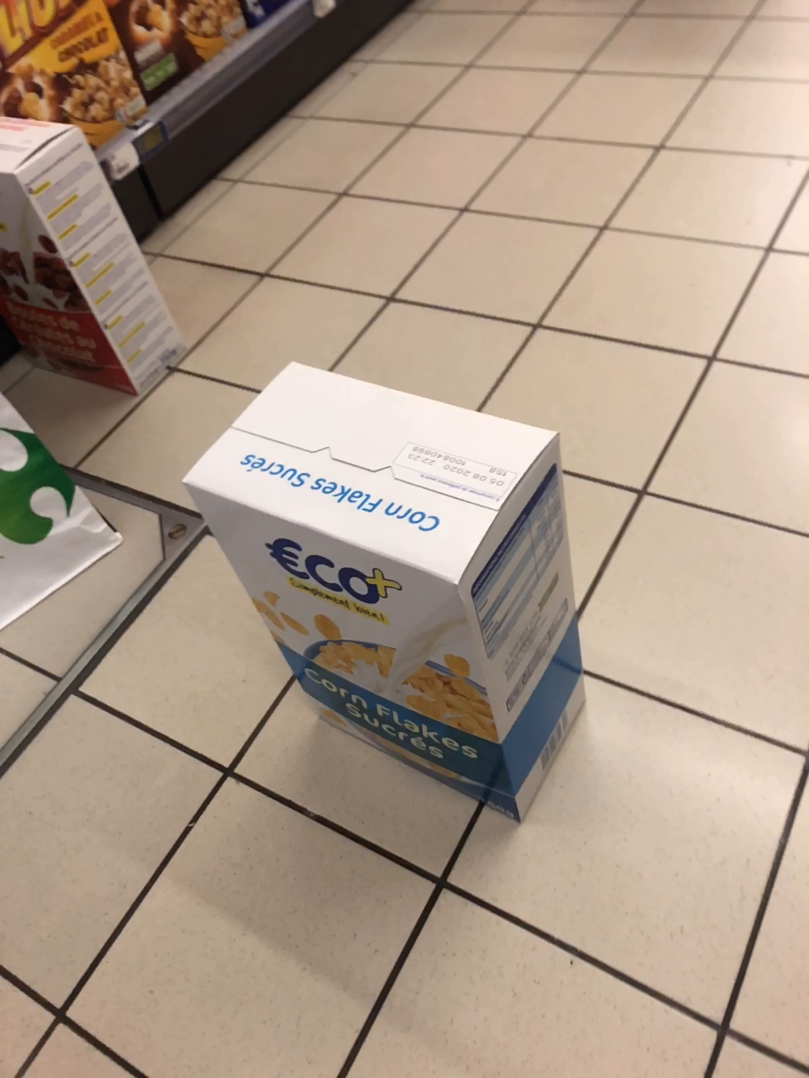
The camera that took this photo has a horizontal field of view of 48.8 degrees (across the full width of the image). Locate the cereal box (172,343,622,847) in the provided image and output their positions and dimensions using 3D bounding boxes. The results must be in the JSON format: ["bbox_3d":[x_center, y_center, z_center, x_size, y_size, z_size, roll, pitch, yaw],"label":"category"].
[{"bbox_3d":[0.018,0.047,0.602,0.210,0.298,0.131,20,58,28],"label":"cereal box"}]

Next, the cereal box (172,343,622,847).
[{"bbox_3d":[0.018,0.047,0.602,0.210,0.298,0.131,20,58,28],"label":"cereal box"}]
